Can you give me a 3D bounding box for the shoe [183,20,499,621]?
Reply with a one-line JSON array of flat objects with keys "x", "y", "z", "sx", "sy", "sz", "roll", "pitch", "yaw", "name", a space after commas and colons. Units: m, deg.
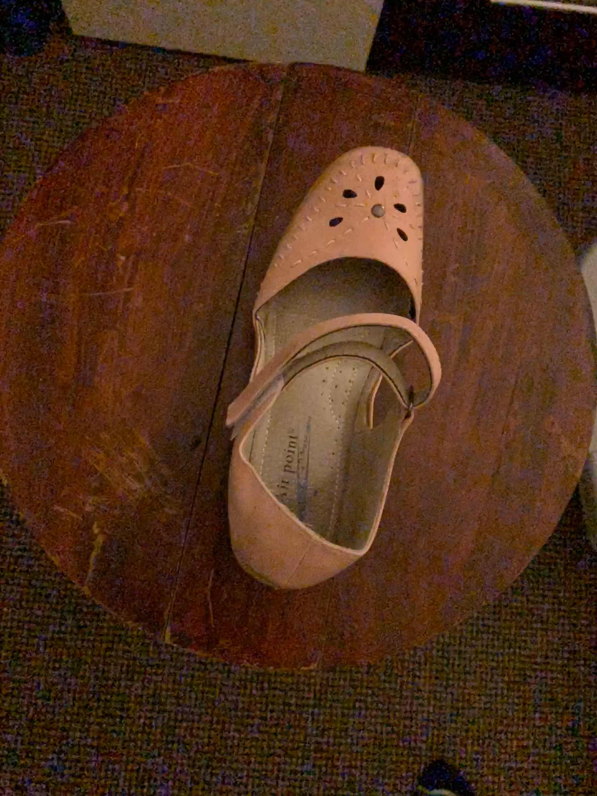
[{"x": 0.023, "y": -0.039, "z": 0.328, "sx": 0.101, "sy": 0.092, "sz": 0.272, "roll": 11, "pitch": 80, "yaw": -2, "name": "shoe"}]
